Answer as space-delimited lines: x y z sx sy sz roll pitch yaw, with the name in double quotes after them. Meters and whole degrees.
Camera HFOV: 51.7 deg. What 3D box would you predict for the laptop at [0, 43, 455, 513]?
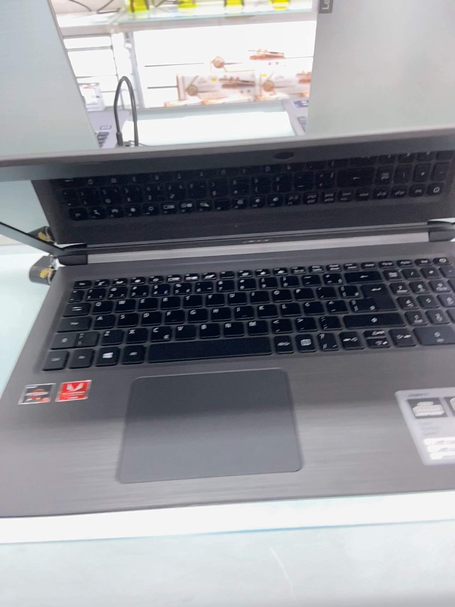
0.022 -0.035 0.278 0.343 0.155 0.221 -4 38 0 "laptop"
